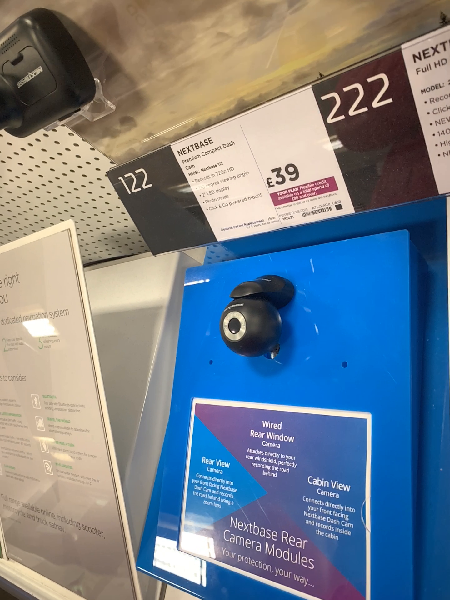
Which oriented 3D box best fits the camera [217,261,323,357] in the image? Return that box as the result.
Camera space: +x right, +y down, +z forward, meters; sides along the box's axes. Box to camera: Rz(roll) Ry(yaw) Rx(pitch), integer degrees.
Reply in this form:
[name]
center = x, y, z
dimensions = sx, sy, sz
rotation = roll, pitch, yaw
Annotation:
[camera]
center = 0.027, 0.008, 0.275
dimensions = 0.040, 0.050, 0.050
rotation = -7, 79, 40
